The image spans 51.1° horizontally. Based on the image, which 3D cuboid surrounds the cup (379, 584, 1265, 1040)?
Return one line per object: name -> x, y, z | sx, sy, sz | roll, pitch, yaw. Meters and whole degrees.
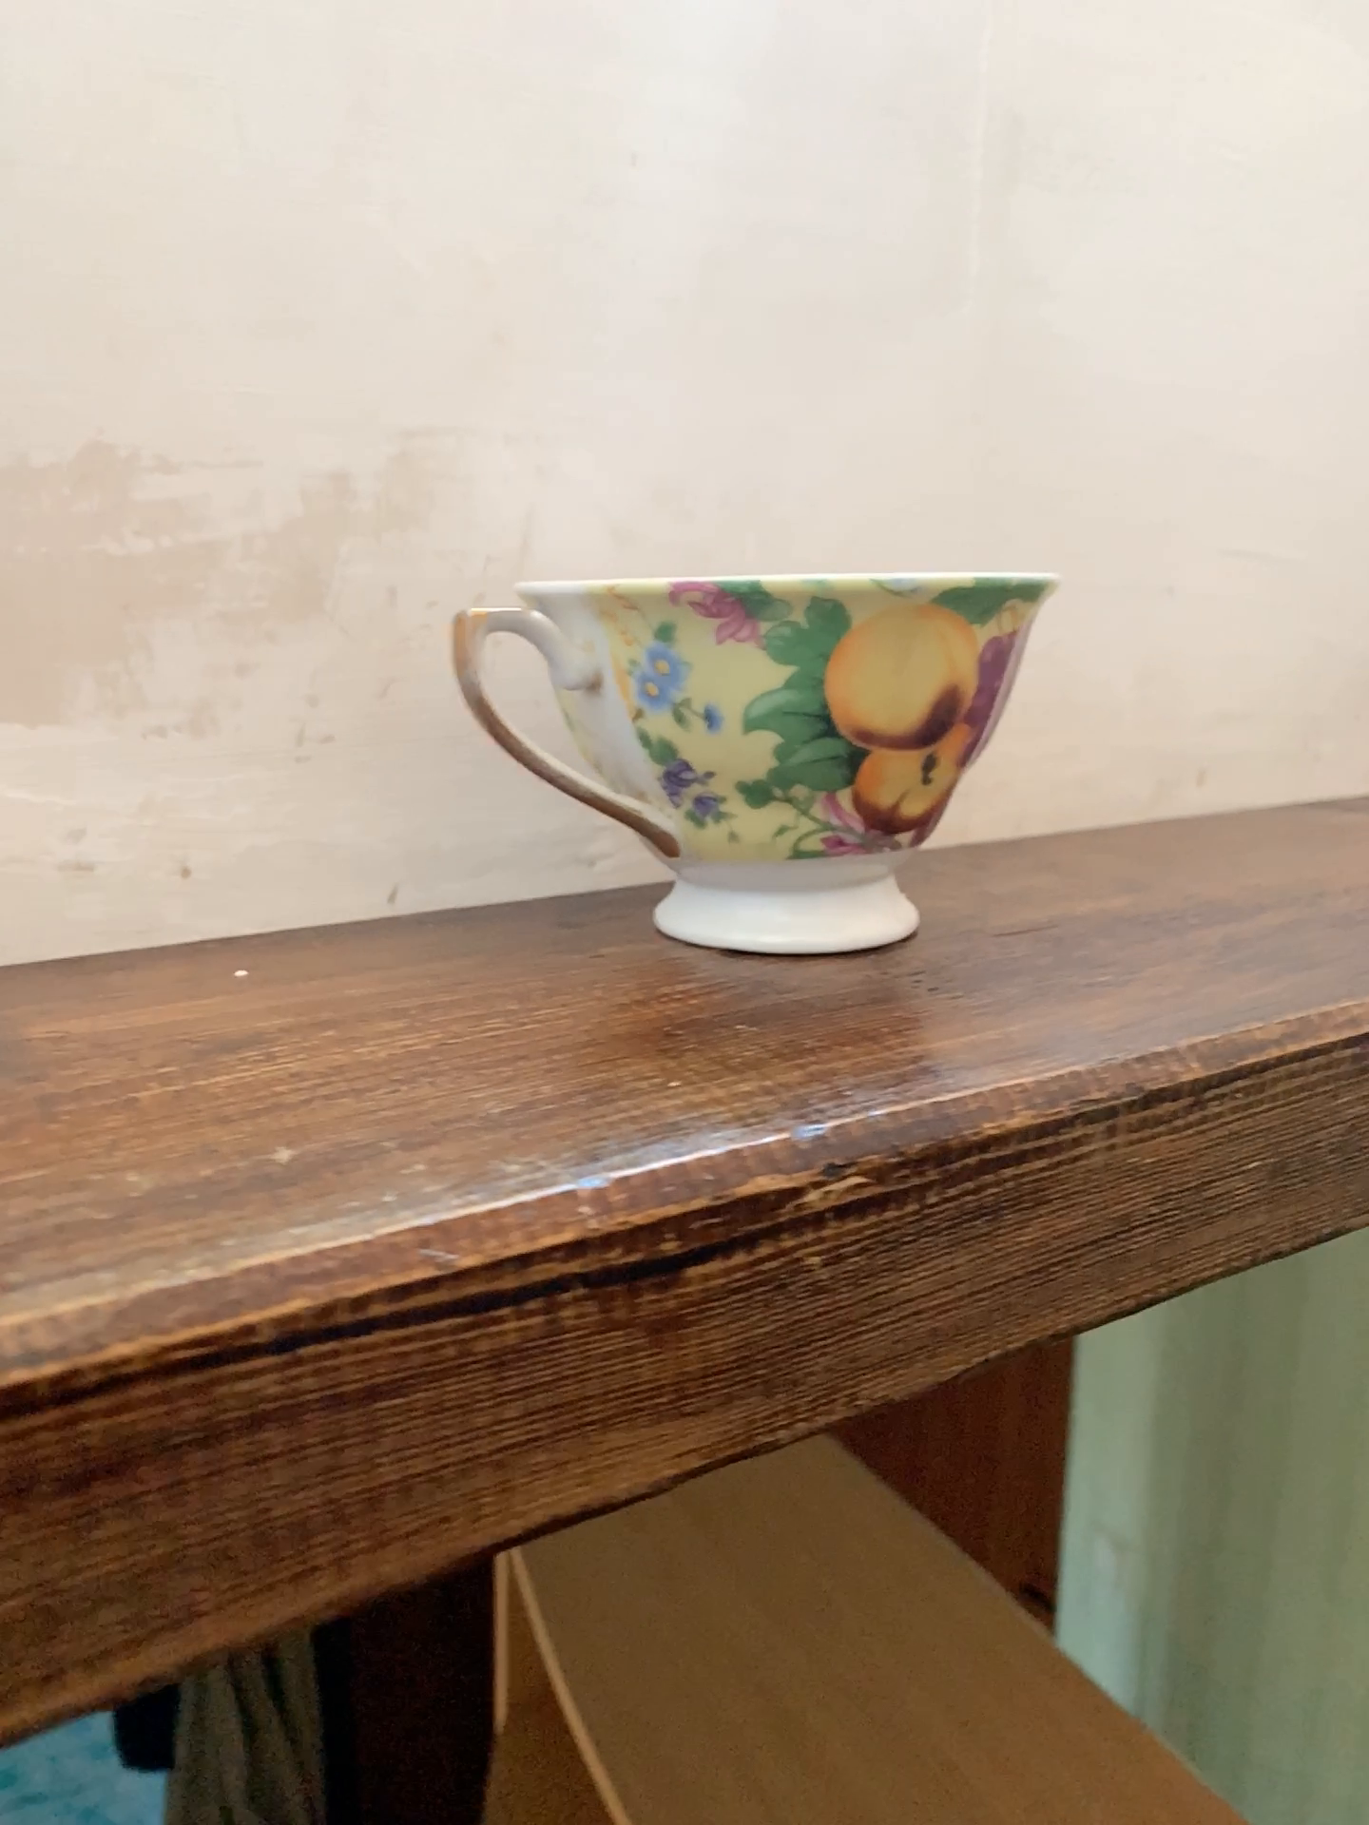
cup -> 0.023, -0.028, 0.254 | 0.123, 0.058, 0.091 | -9, 15, -33
